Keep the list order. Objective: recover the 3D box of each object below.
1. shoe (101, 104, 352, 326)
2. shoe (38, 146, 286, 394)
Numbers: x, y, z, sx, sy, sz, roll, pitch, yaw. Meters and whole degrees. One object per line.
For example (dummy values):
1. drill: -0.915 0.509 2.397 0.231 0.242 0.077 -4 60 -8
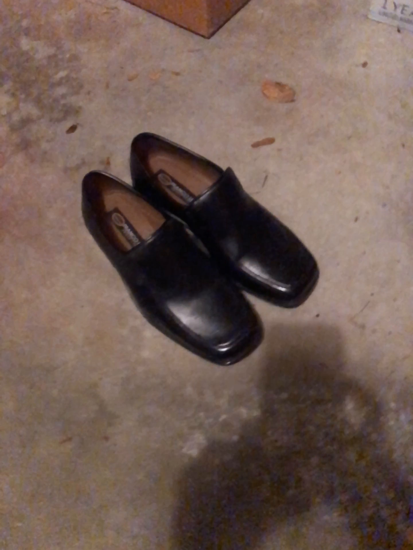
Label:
1. shoe: 0.019 -0.074 0.554 0.269 0.113 0.104 36 72 18
2. shoe: -0.052 -0.008 0.531 0.101 0.113 0.279 -43 70 -15
